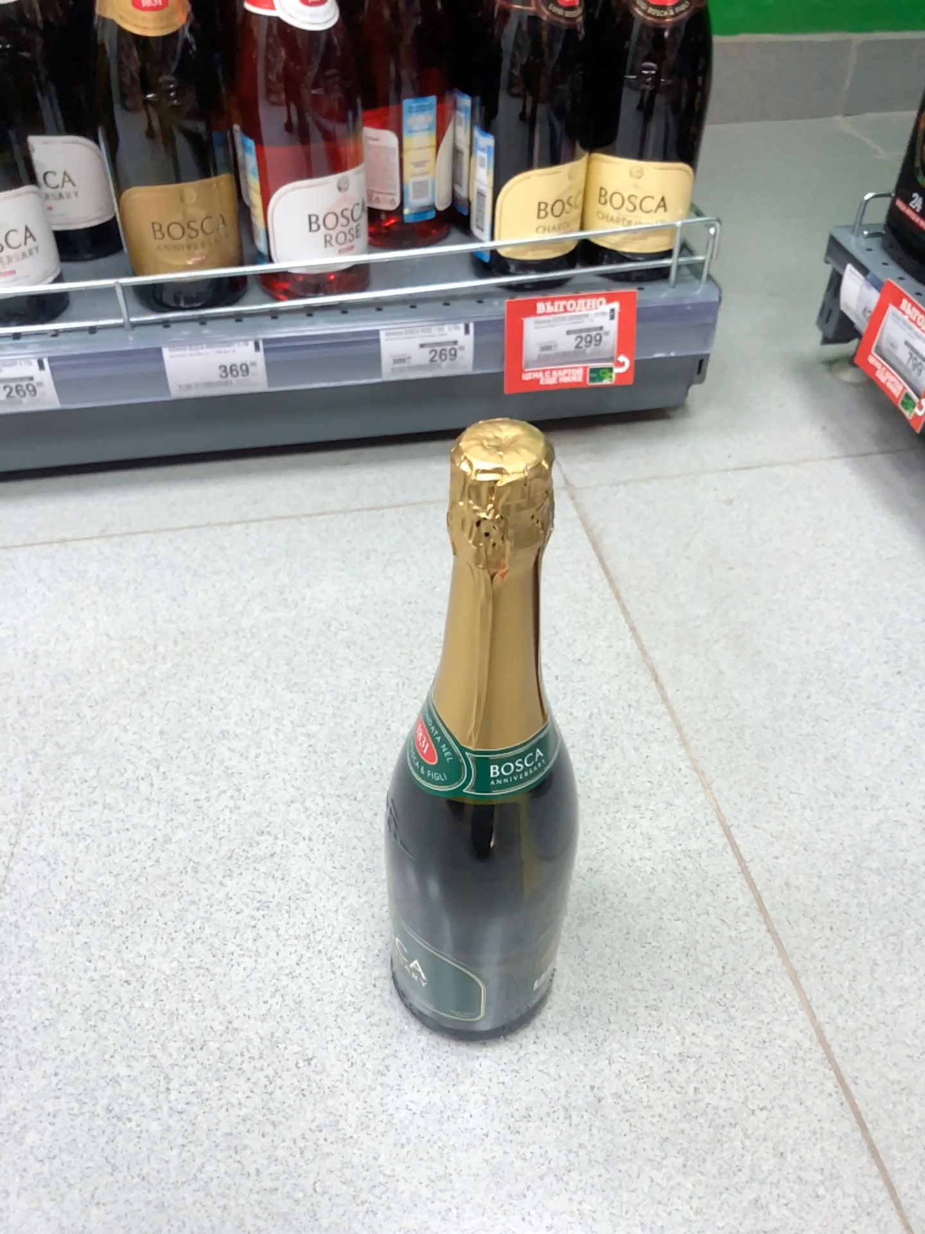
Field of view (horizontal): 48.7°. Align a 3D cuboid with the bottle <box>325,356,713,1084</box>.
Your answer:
[{"bbox_3d":[0.008,0.065,0.405,0.090,0.314,0.090,1,44,-1],"label":"bottle"}]
